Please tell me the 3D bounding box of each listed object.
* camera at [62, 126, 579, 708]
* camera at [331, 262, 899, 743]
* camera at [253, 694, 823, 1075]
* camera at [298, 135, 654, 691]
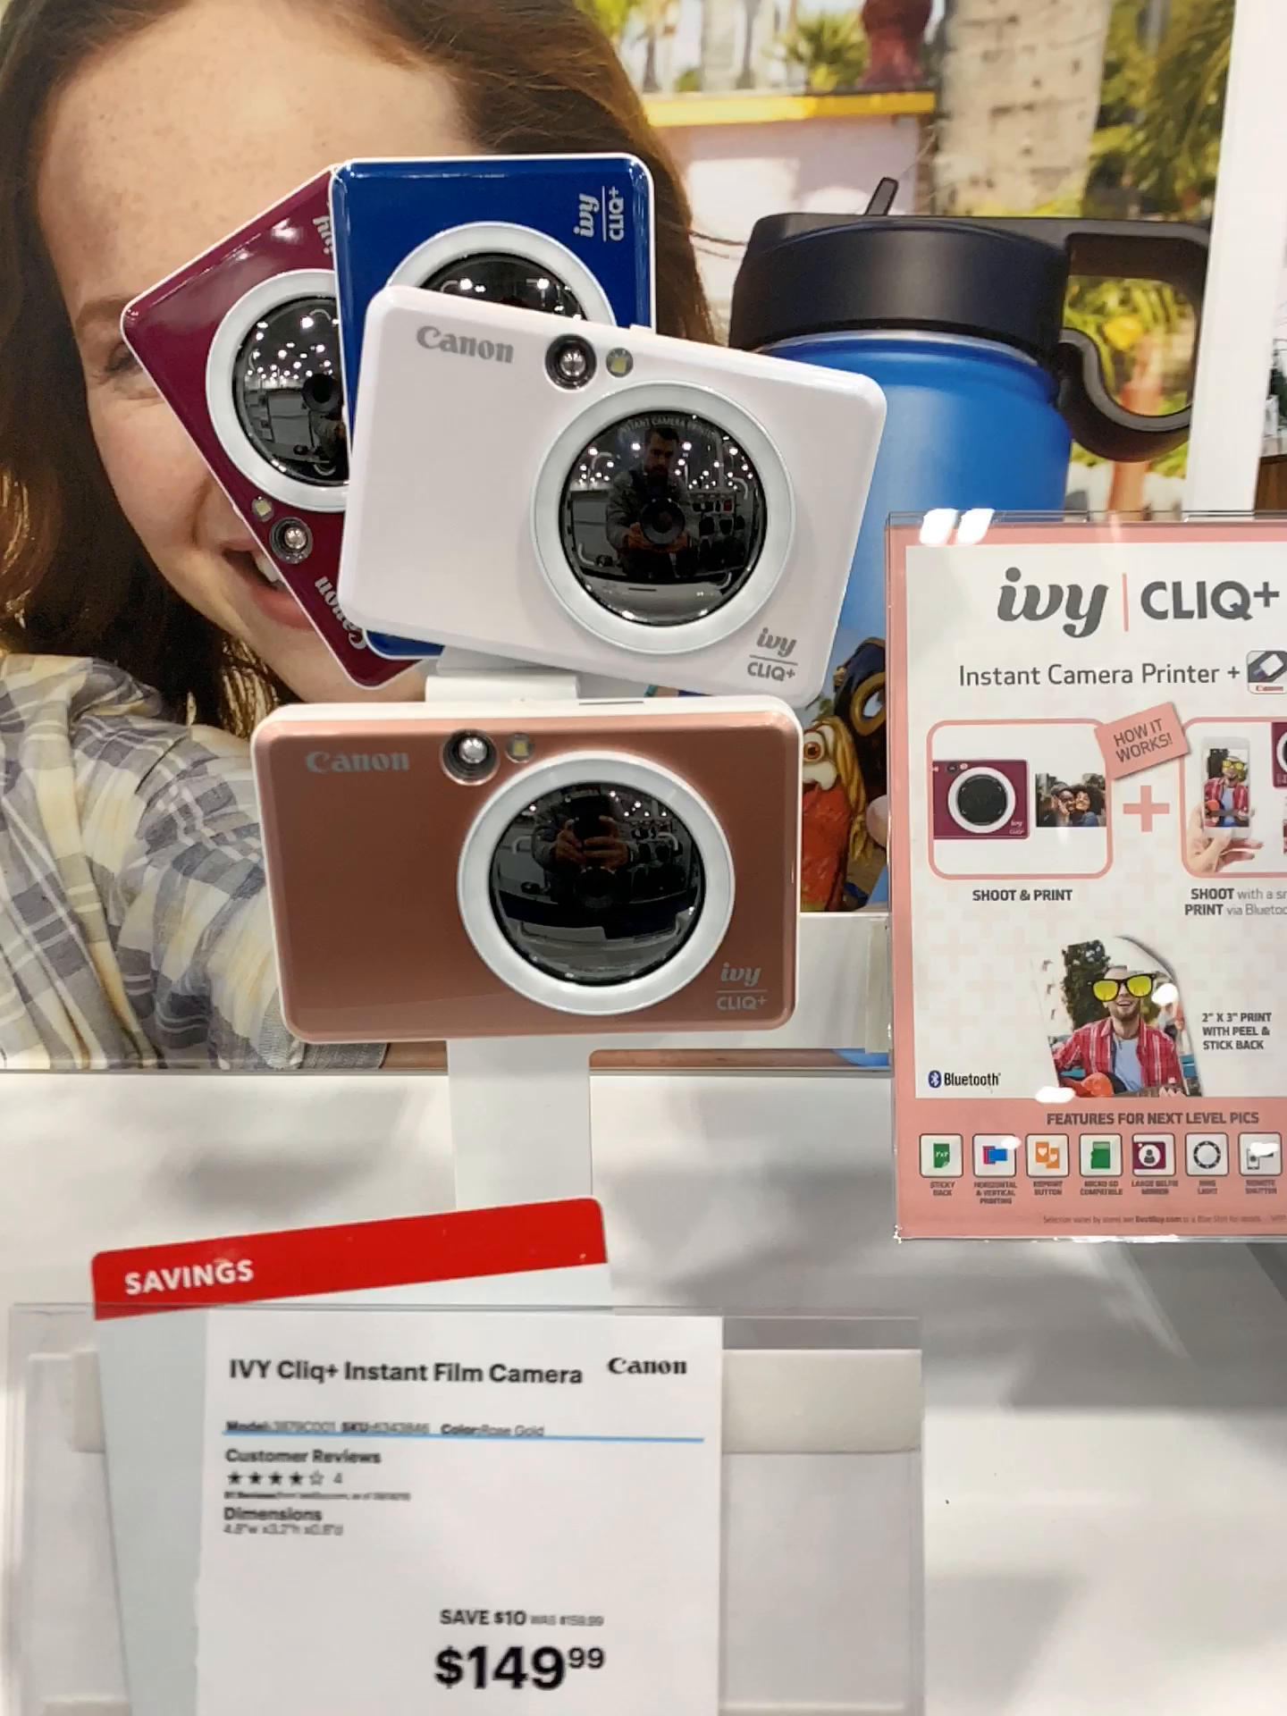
[{"bbox_3d":[-0.084,-0.114,0.358,0.080,0.120,0.030,-28,11,15],"label":"camera"},{"bbox_3d":[-0.009,-0.085,0.327,0.120,0.090,0.030,10,17,-4],"label":"camera"},{"bbox_3d":[-0.022,0.005,0.306,0.120,0.080,0.030,-1,17,-2],"label":"camera"},{"bbox_3d":[-0.040,-0.111,0.345,0.080,0.129,0.030,1,17,8],"label":"camera"}]
